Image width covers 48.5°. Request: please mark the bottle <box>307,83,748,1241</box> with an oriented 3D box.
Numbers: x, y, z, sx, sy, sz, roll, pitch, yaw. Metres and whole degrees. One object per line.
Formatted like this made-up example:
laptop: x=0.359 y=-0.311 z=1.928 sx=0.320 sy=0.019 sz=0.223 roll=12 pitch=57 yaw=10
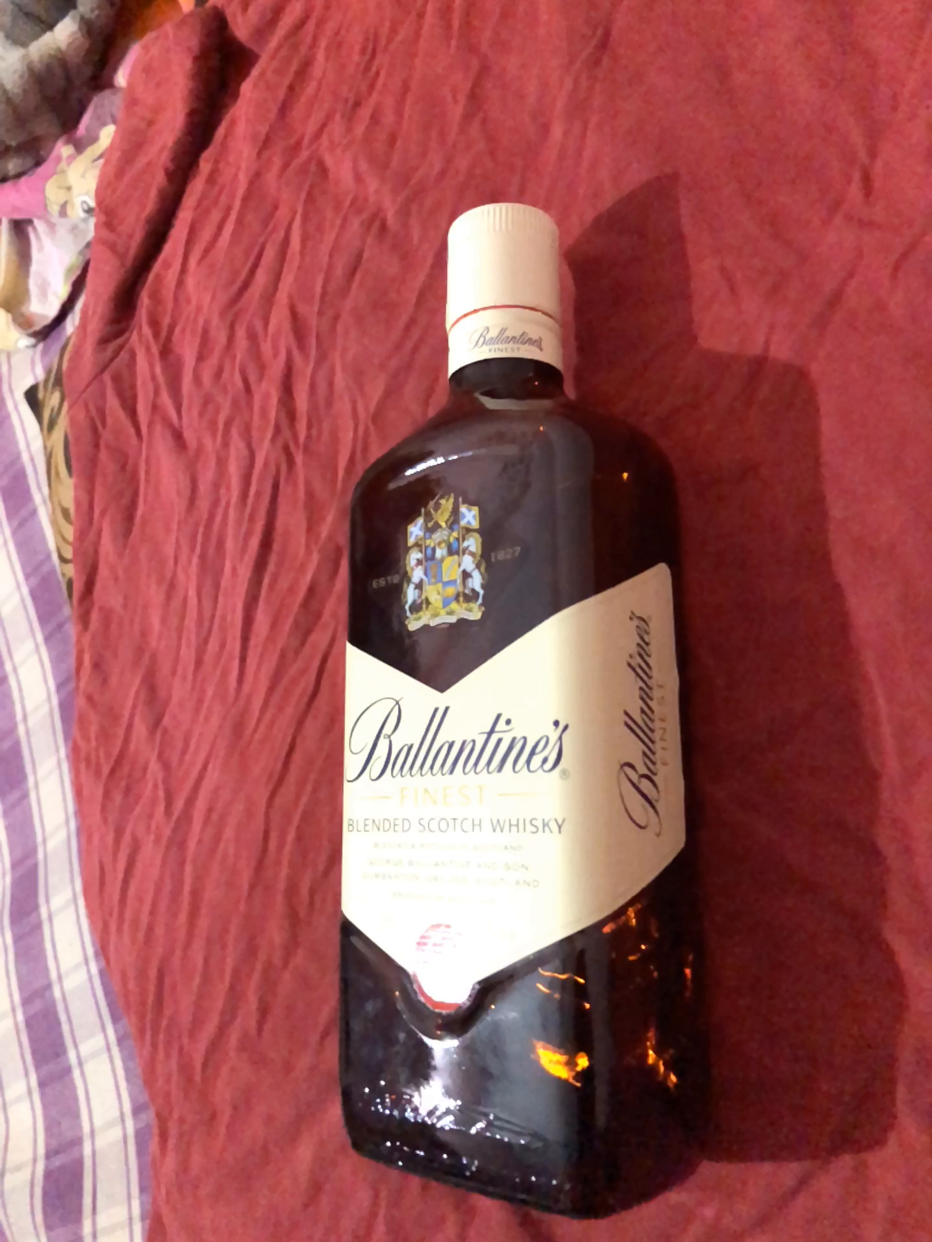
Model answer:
bottle: x=0.010 y=0.009 z=0.262 sx=0.090 sy=0.050 sz=0.250 roll=-9 pitch=78 yaw=37
